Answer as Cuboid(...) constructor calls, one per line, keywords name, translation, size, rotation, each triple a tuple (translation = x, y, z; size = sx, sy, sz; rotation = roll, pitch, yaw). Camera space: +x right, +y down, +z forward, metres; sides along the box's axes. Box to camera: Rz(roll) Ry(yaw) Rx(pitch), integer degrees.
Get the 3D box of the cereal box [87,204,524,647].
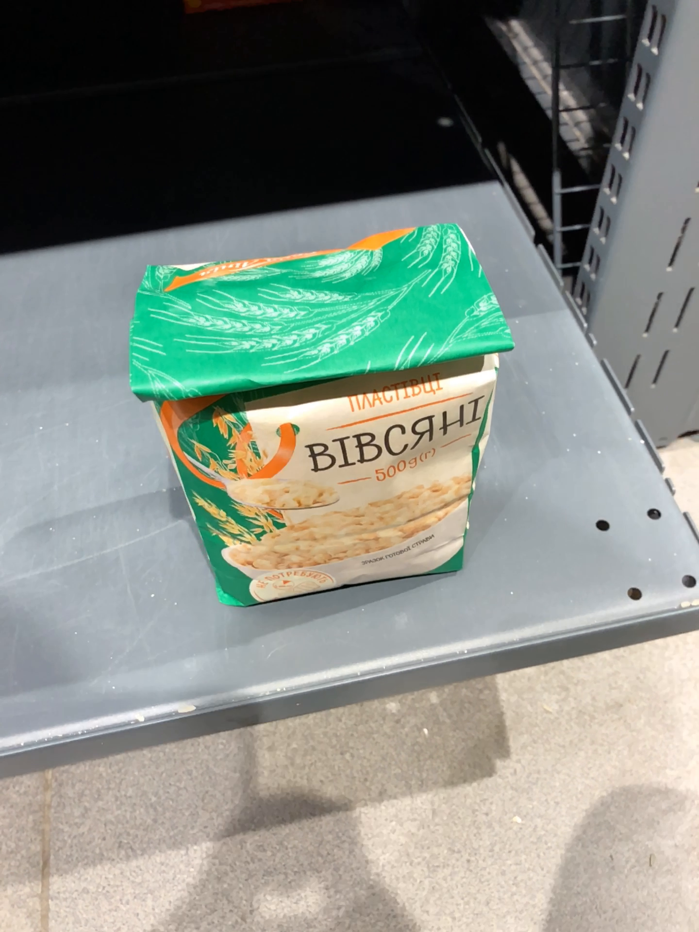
Cuboid(name="cereal box", translation=(-0.015, -0.007, 0.289), size=(0.120, 0.139, 0.070), rotation=(-11, 53, -6))
